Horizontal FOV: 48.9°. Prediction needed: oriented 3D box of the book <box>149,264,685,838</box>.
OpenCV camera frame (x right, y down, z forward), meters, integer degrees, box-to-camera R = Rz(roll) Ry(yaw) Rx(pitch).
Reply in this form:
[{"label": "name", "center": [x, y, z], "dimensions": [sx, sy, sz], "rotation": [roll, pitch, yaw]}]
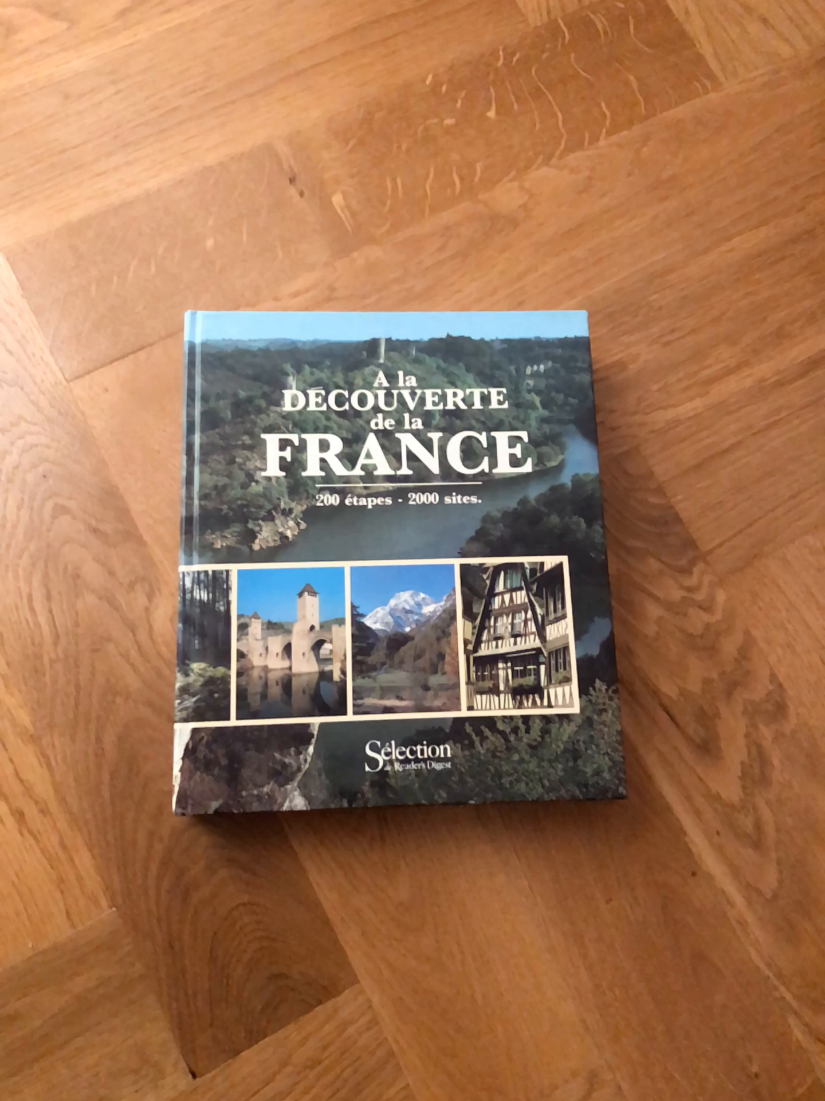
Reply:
[{"label": "book", "center": [-0.001, -0.008, 0.474], "dimensions": [0.250, 0.040, 0.290], "rotation": [-1, 77, -4]}]
